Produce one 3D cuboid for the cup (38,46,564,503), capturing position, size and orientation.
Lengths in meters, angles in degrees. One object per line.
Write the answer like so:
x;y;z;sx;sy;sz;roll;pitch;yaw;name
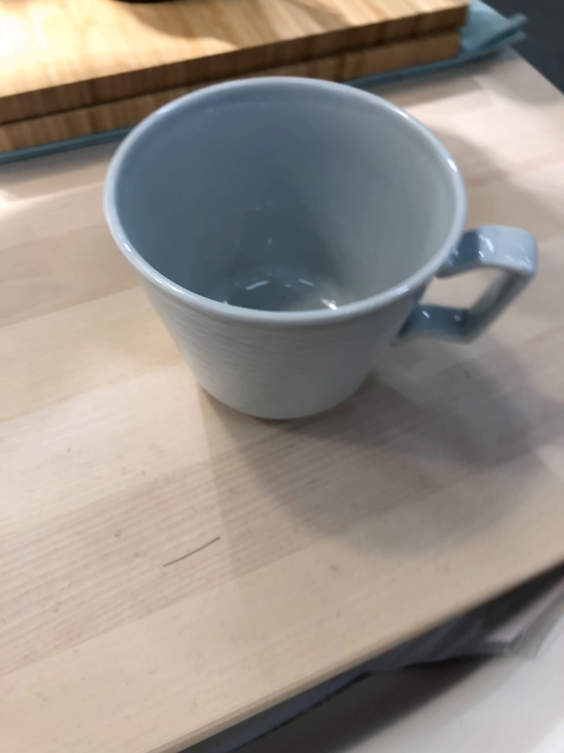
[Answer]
0.016;-0.036;0.219;0.140;0.080;0.111;10;57;5;cup
